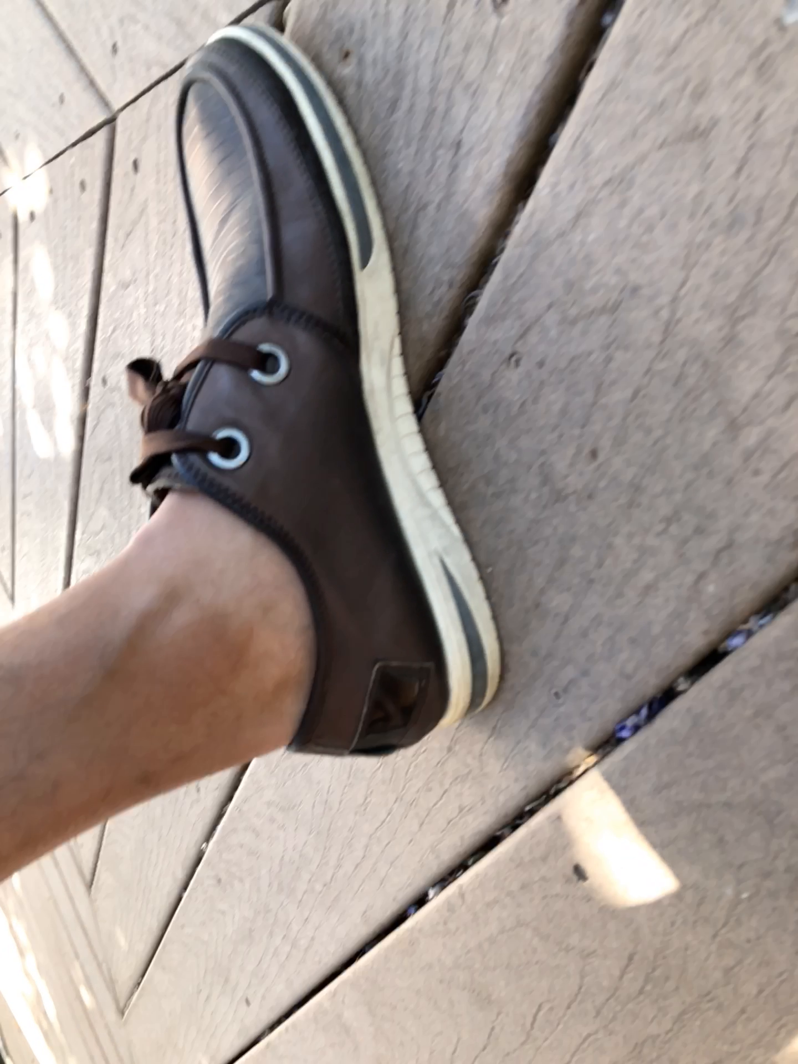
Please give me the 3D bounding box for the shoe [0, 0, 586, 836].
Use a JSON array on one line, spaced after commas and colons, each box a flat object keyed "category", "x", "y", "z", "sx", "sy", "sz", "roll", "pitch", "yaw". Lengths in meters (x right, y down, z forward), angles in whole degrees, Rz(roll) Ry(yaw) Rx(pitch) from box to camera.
[{"category": "shoe", "x": -0.049, "y": -0.053, "z": 0.335, "sx": 0.111, "sy": 0.110, "sz": 0.295, "roll": -16, "pitch": 92, "yaw": 50}]
